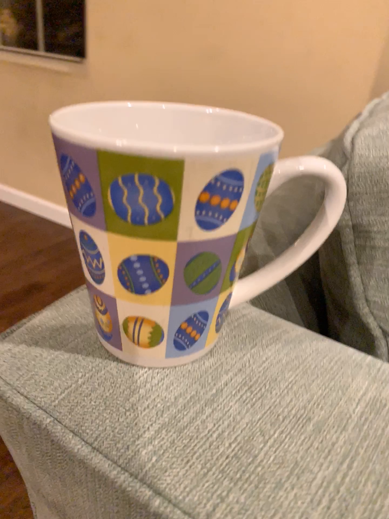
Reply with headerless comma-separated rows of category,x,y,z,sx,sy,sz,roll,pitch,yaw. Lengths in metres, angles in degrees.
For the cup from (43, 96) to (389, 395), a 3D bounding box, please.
cup,0.005,-0.016,0.180,0.123,0.087,0.096,-3,28,-15
